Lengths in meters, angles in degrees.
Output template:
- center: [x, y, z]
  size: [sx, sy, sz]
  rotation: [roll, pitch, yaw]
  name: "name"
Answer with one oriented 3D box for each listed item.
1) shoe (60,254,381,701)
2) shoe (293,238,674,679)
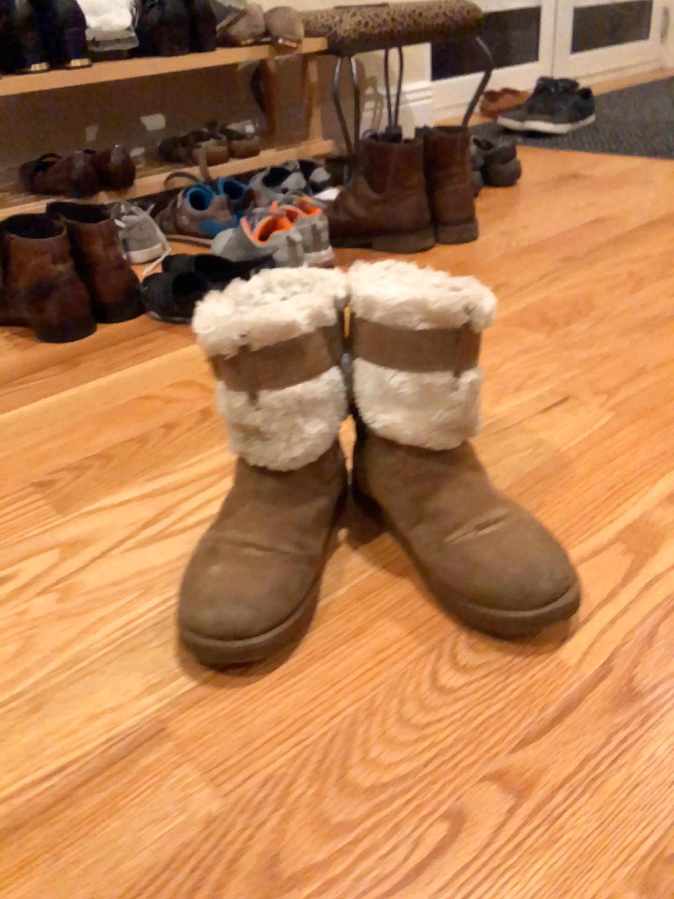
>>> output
- center: [-0.051, -0.001, 0.516]
  size: [0.106, 0.193, 0.256]
  rotation: [3, 32, 14]
  name: "shoe"
- center: [0.083, -0.015, 0.523]
  size: [0.113, 0.193, 0.256]
  rotation: [-18, 33, -21]
  name: "shoe"
